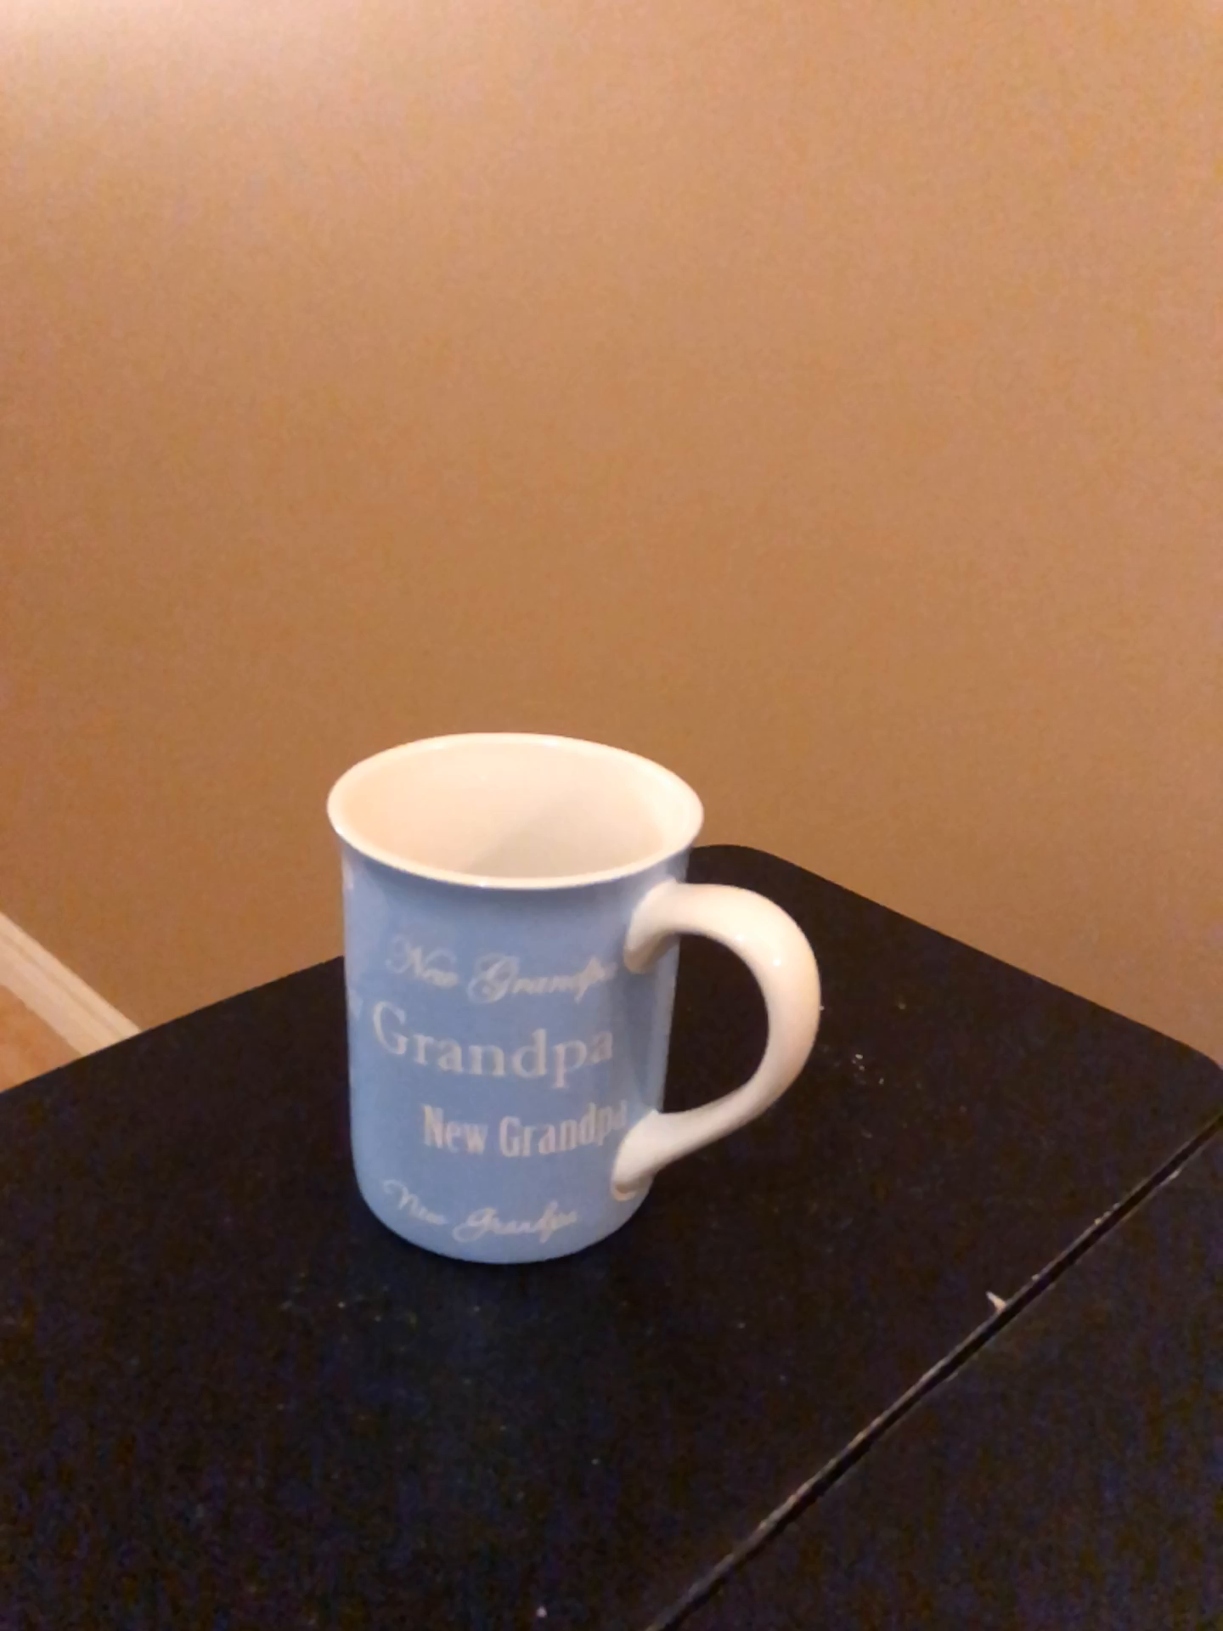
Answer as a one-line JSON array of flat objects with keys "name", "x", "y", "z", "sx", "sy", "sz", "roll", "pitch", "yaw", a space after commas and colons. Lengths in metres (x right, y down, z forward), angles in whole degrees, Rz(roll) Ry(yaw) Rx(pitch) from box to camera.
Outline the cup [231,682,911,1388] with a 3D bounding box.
[{"name": "cup", "x": -0.009, "y": 0.044, "z": 0.343, "sx": 0.130, "sy": 0.110, "sz": 0.100, "roll": 15, "pitch": 26, "yaw": 23}]
